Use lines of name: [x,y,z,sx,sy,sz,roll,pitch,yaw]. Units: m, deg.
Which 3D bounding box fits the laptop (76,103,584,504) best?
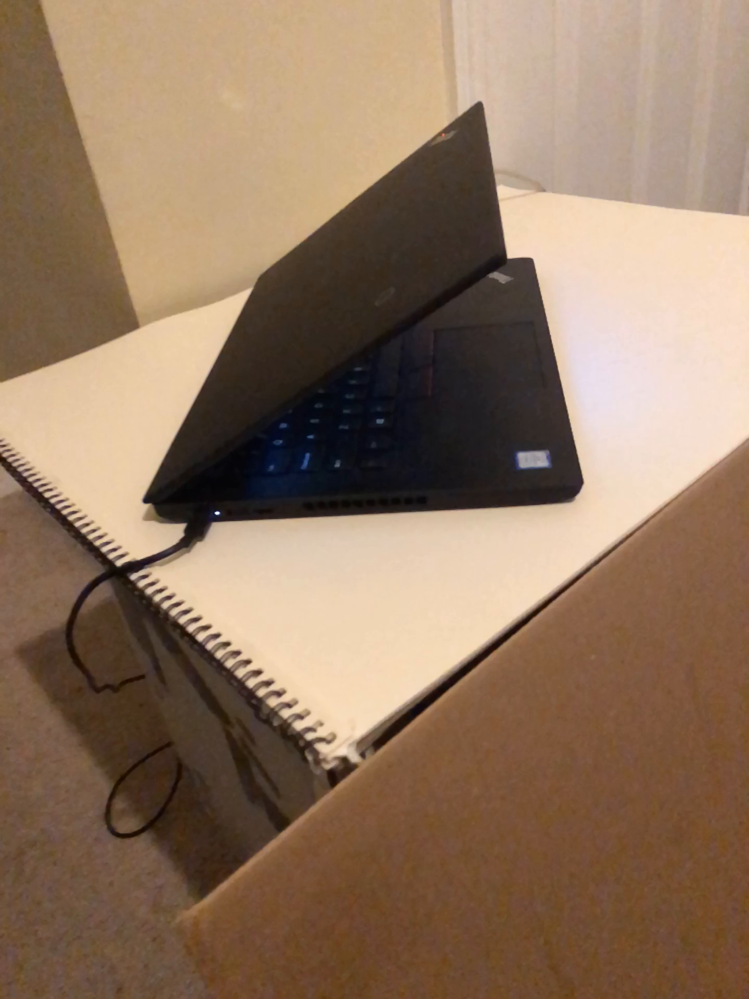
laptop: [-0.004,-0.143,0.520,0.226,0.115,0.319,-3,35,8]
